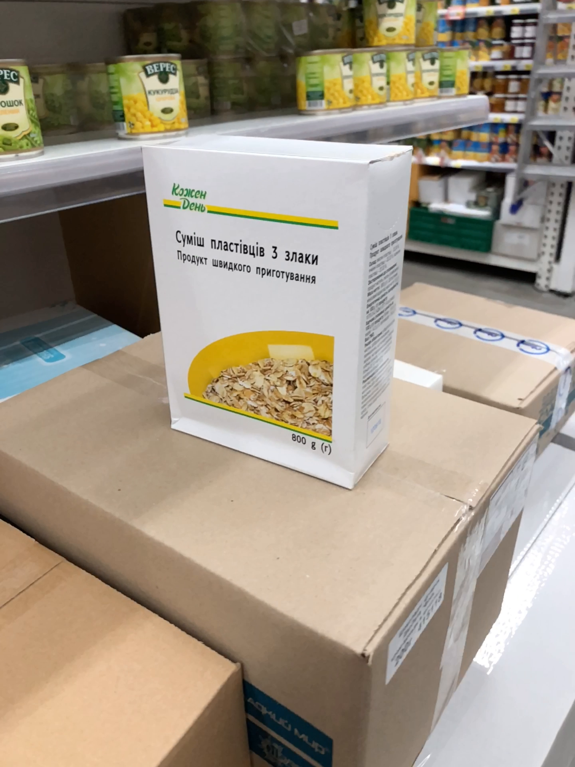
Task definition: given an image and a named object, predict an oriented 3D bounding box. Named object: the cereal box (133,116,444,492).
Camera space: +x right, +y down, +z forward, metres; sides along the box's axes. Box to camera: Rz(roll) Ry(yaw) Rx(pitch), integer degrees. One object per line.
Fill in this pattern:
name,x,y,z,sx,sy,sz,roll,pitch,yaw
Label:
cereal box,-0.001,-0.058,0.420,0.170,0.209,0.070,15,31,26
